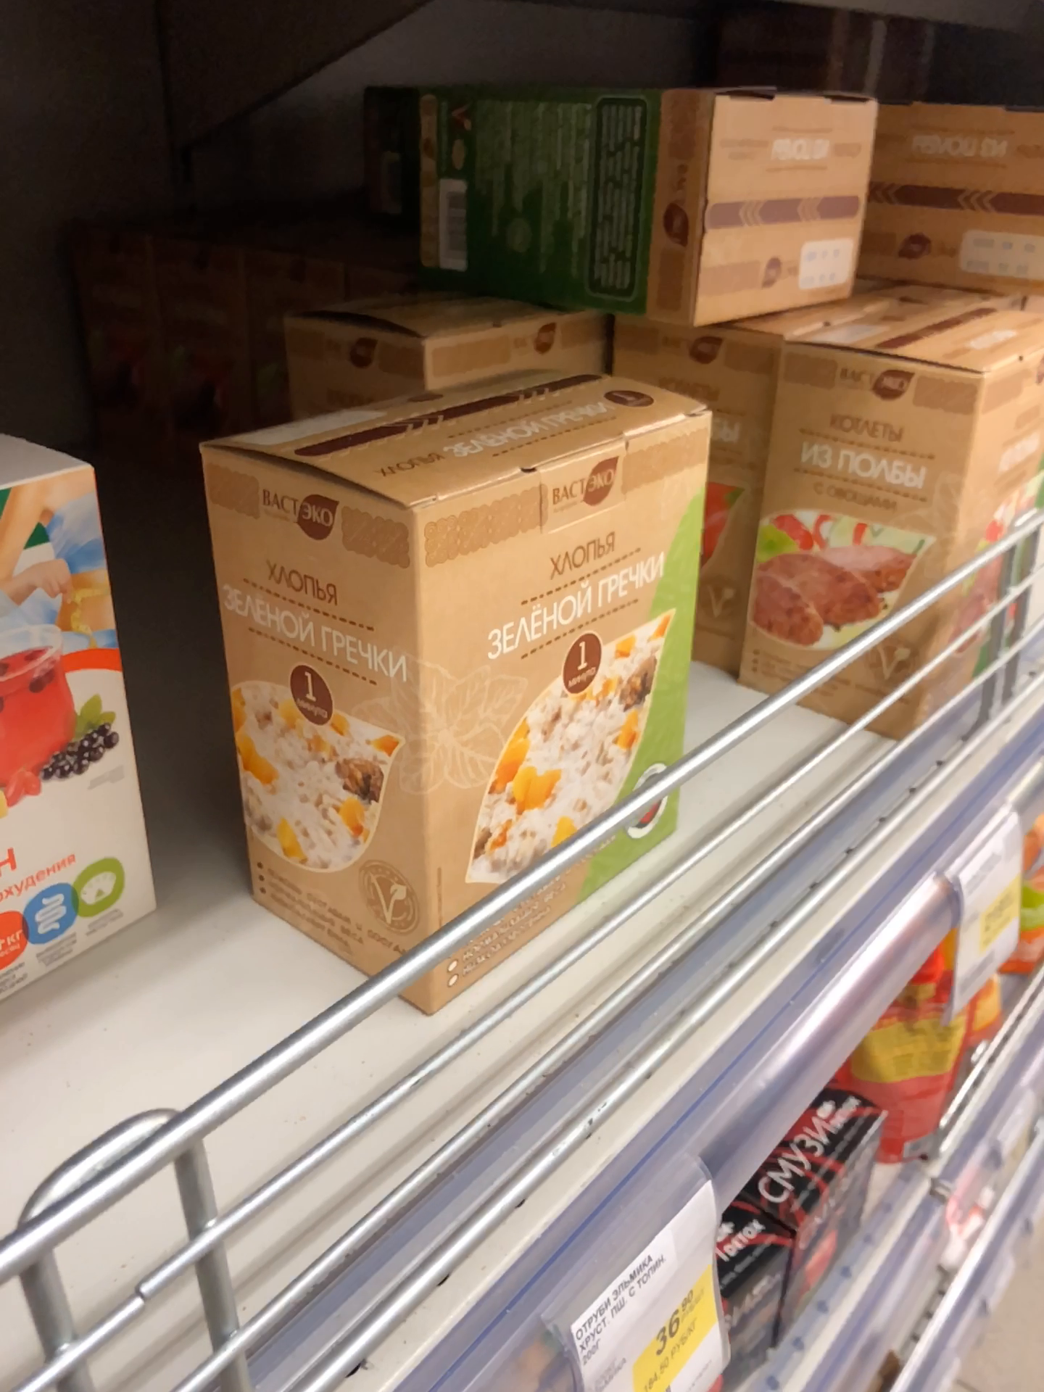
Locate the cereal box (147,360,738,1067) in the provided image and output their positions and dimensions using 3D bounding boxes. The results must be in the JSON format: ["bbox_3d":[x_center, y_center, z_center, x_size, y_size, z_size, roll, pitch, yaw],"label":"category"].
[{"bbox_3d":[-0.018,-0.006,0.340,0.090,0.149,0.130,22,34,34],"label":"cereal box"}]
